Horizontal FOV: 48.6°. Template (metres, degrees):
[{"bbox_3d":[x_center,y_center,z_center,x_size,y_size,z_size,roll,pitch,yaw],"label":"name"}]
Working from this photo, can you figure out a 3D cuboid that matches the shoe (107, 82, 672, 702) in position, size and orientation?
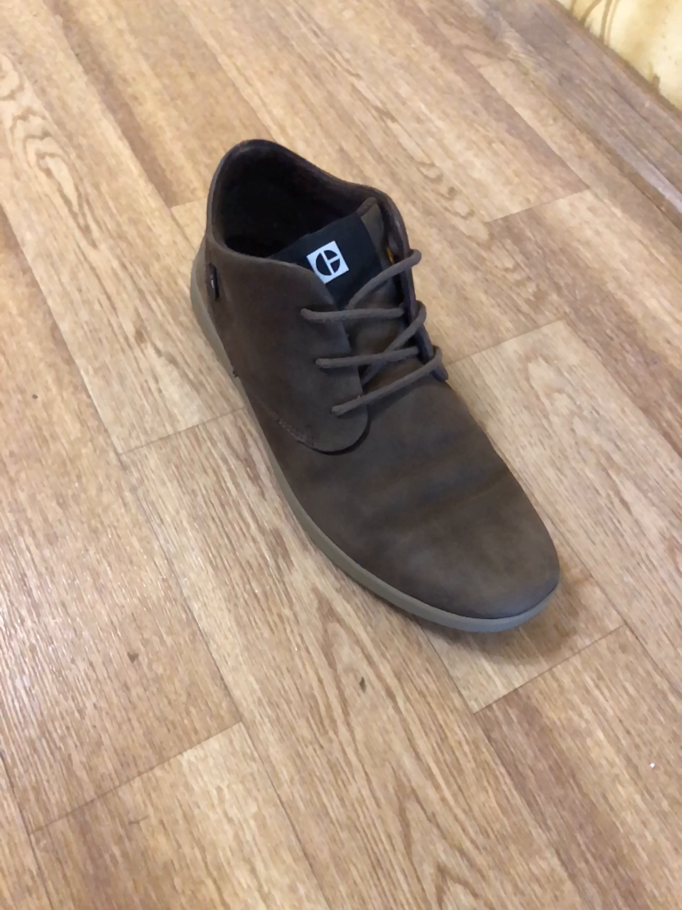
[{"bbox_3d":[0.002,-0.039,0.361,0.100,0.110,0.270,-27,66,-21],"label":"shoe"}]
